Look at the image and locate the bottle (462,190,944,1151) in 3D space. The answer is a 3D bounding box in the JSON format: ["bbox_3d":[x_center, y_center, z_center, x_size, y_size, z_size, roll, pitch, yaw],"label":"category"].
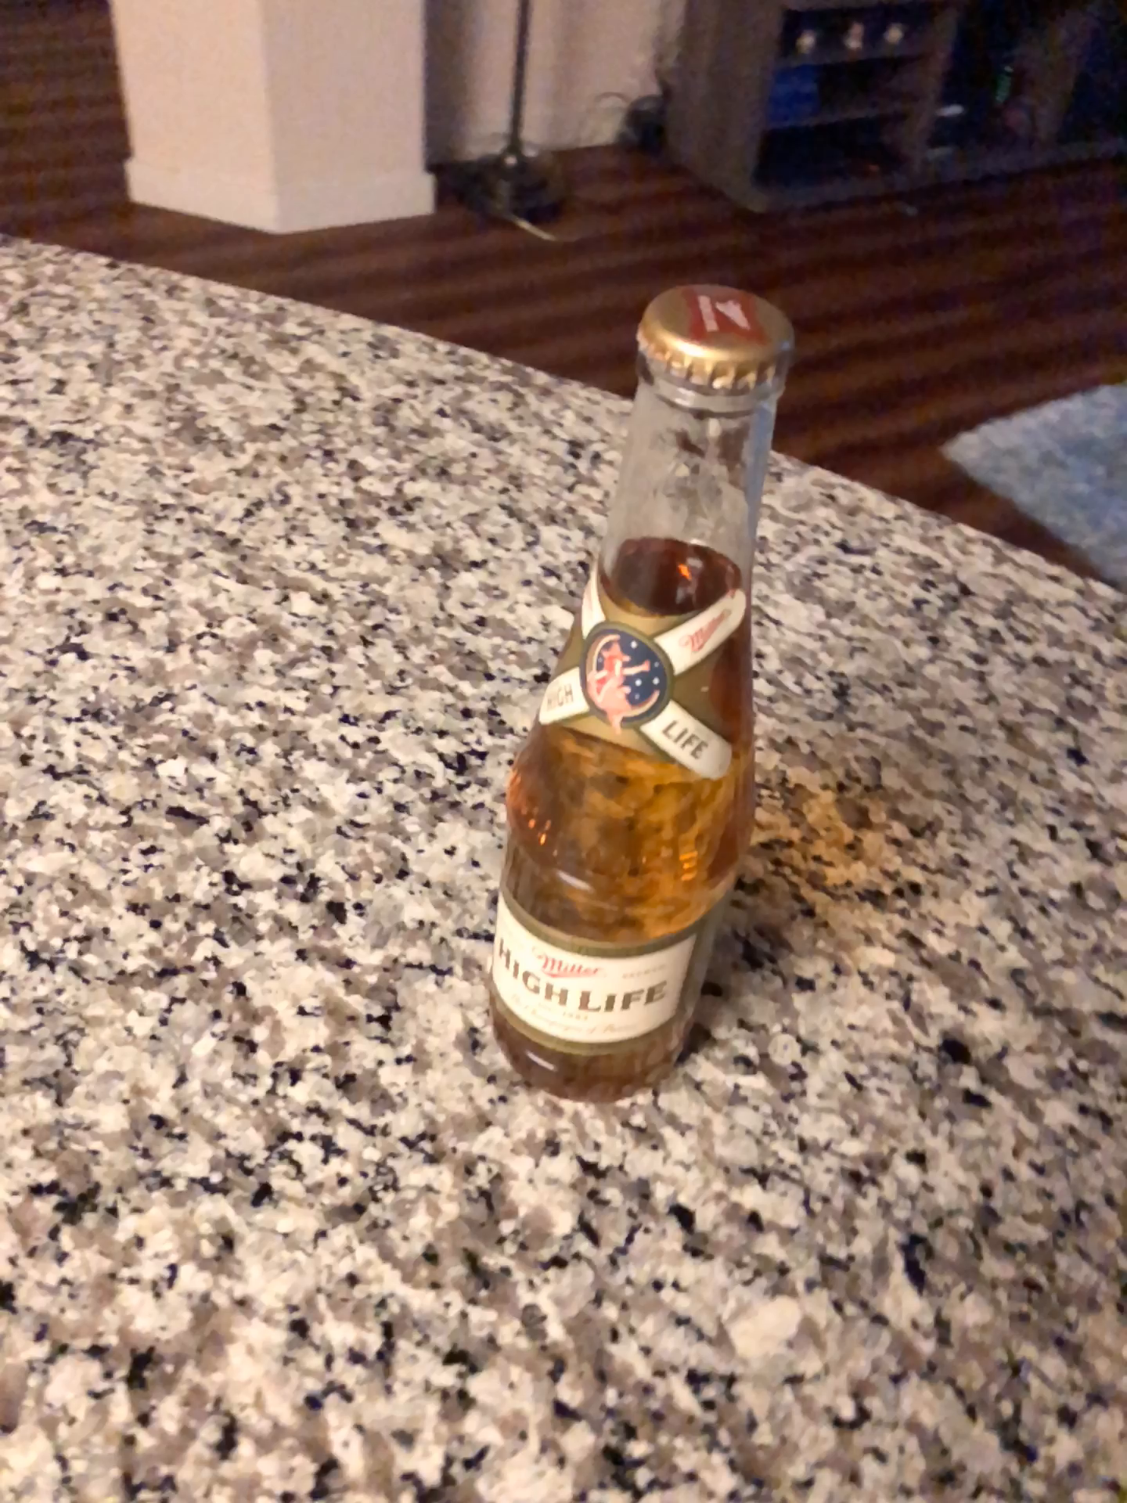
[{"bbox_3d":[0.021,0.001,0.297,0.060,0.229,0.070,17,47,9],"label":"bottle"}]
